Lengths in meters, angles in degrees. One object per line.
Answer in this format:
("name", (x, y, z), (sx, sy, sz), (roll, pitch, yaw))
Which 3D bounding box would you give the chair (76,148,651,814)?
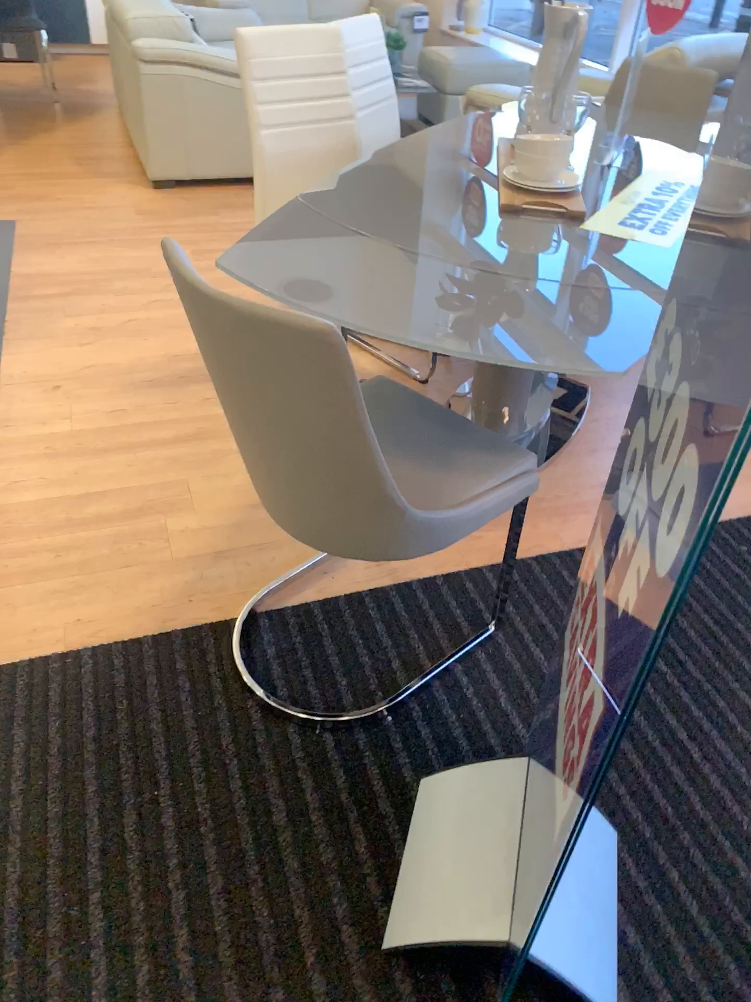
("chair", (-0.027, -0.067, 1.414), (0.683, 0.901, 0.533), (-28, 48, -35))

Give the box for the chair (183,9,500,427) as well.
("chair", (-0.123, -0.834, 2.219), (0.542, 0.931, 0.624), (-24, 46, -32))
